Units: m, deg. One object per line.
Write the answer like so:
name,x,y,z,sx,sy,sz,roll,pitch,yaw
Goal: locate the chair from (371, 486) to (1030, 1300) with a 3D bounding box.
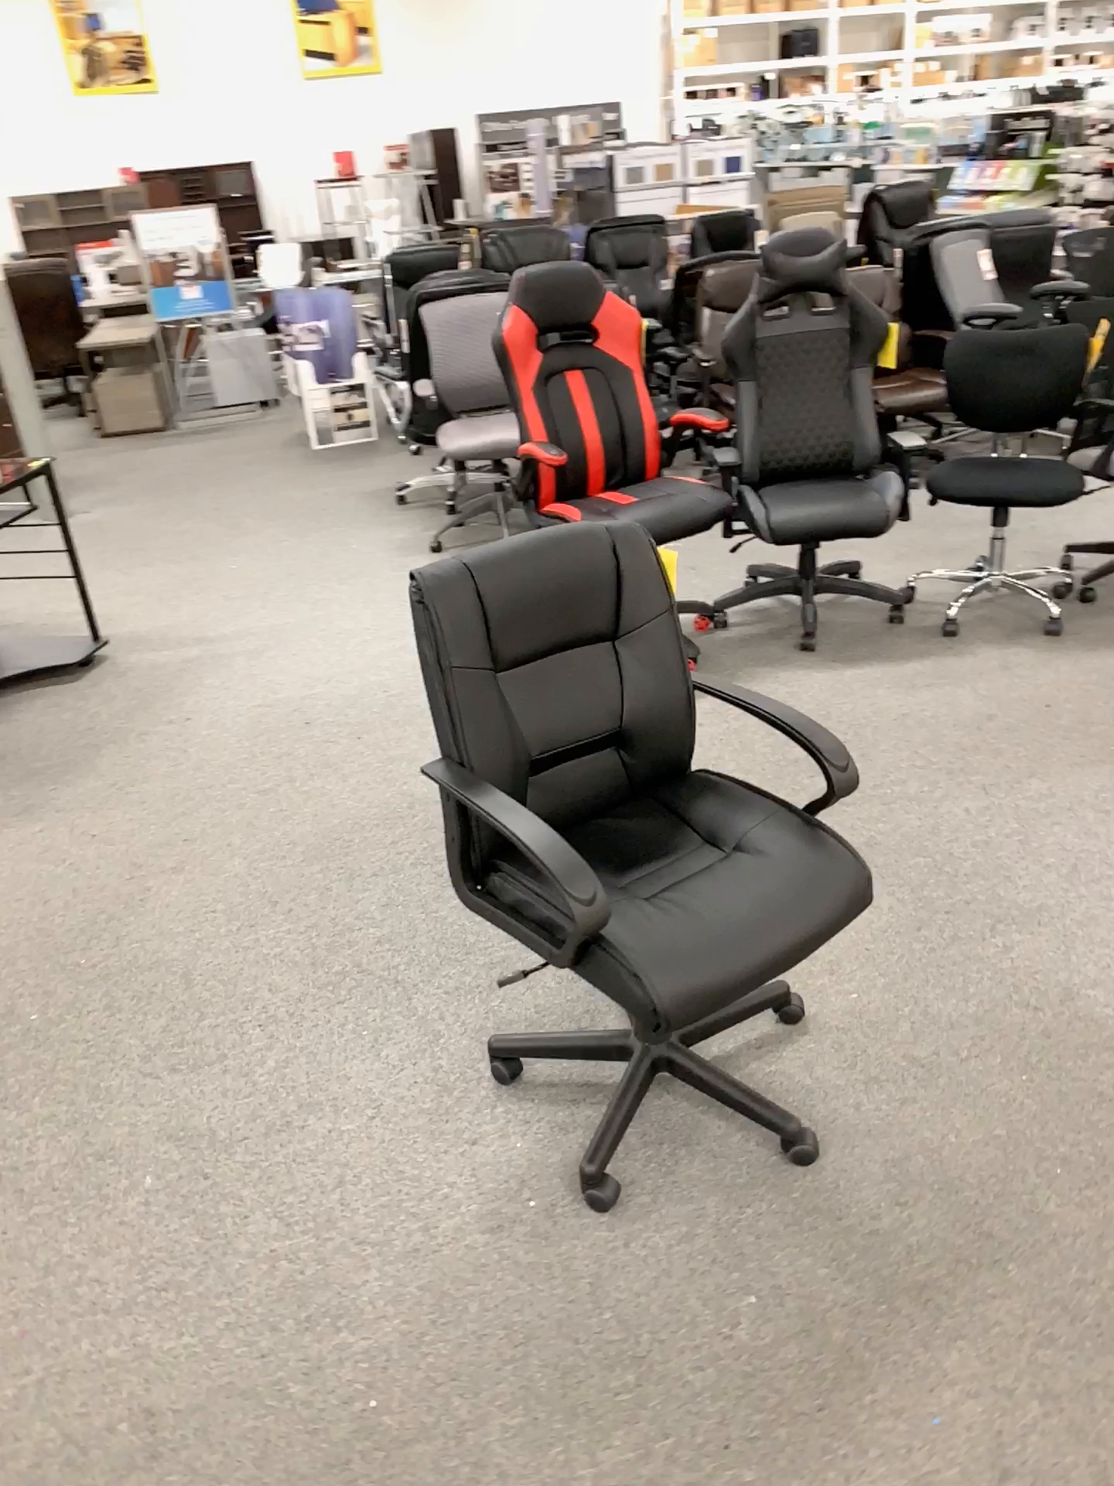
chair,0.208,0.168,1.894,0.681,0.965,0.703,-19,30,-31
